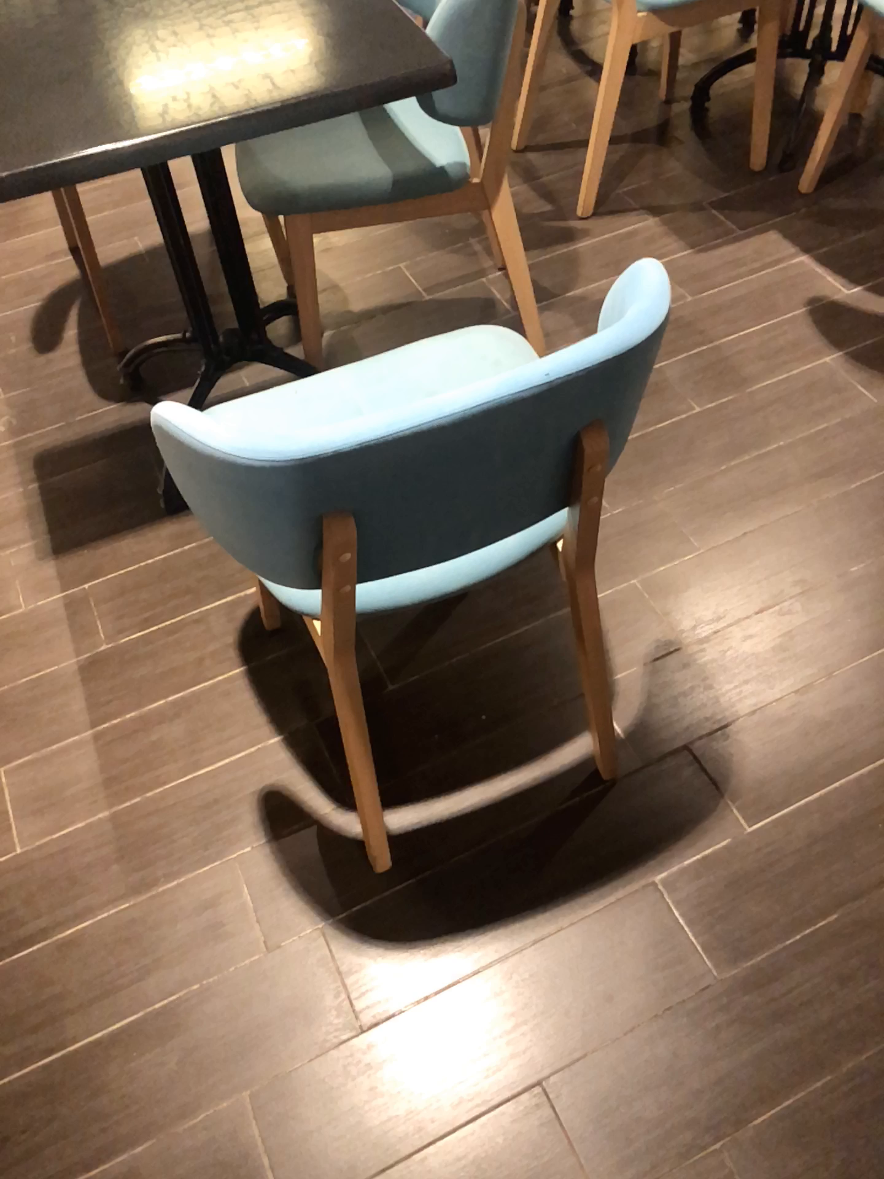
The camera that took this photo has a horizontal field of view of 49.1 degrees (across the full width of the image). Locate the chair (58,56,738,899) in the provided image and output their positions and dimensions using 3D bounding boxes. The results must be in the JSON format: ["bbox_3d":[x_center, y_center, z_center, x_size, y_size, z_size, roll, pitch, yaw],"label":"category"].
[{"bbox_3d":[-0.053,-0.086,1.212,0.480,0.817,0.511,-20,53,-11],"label":"chair"}]
